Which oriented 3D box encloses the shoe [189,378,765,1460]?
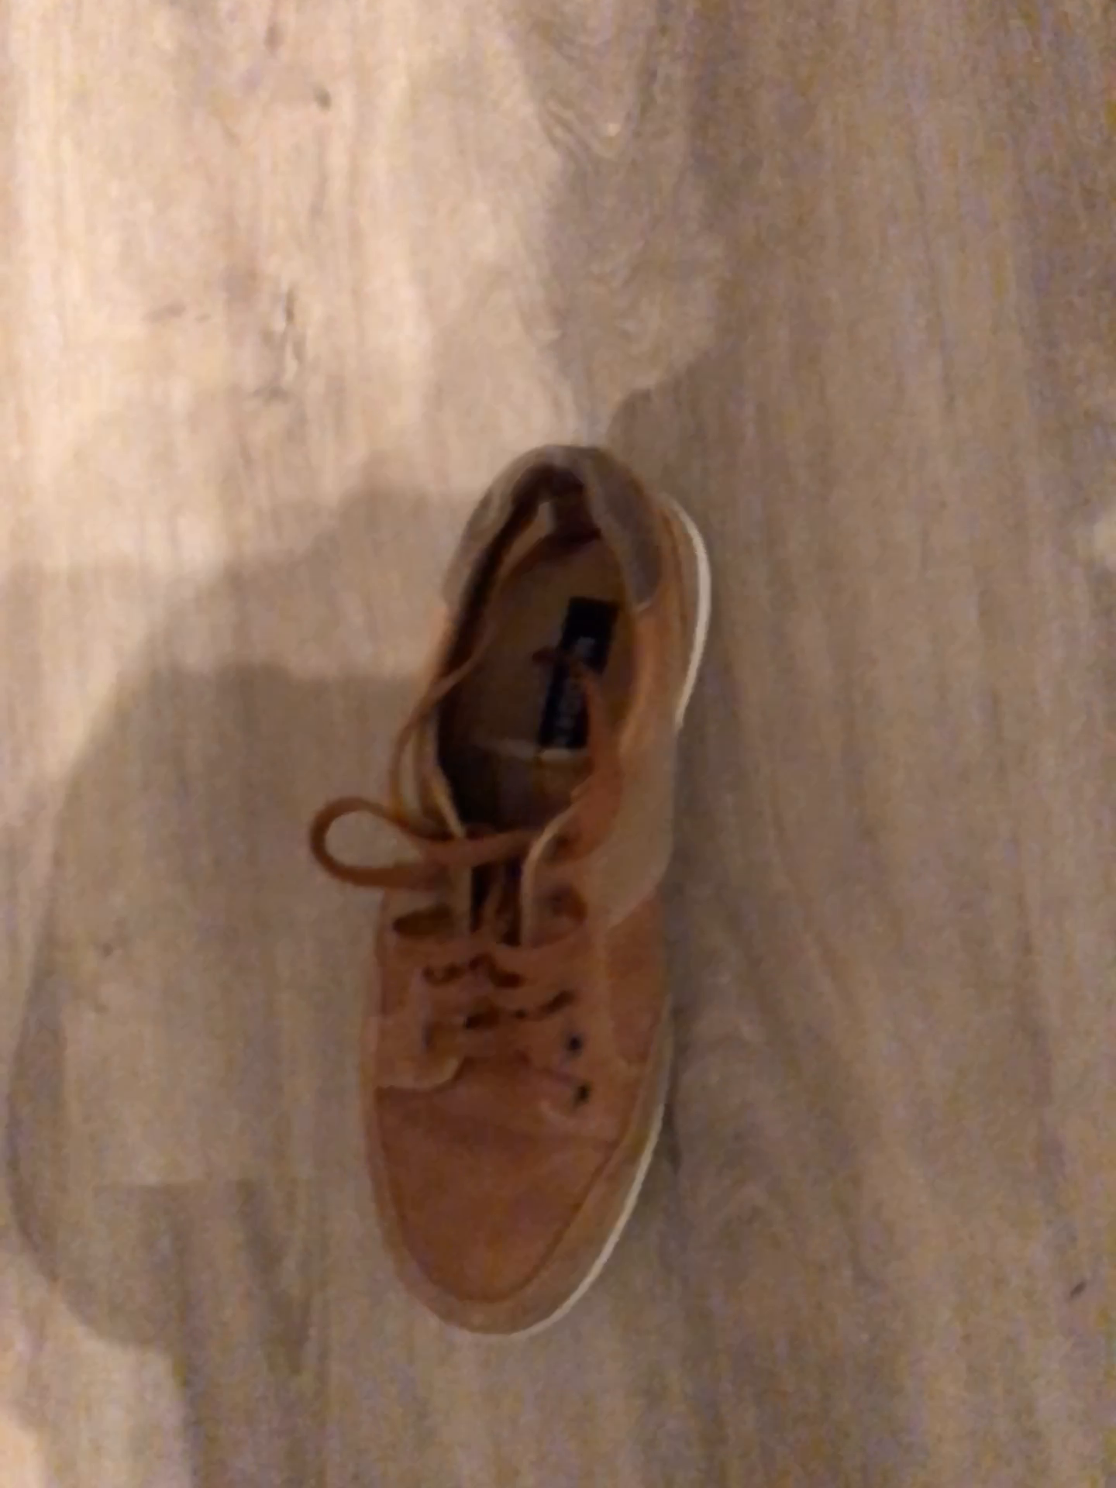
[{"bbox_3d":[-0.016,0.043,0.394,0.110,0.100,0.280,8,87,16],"label":"shoe"}]
